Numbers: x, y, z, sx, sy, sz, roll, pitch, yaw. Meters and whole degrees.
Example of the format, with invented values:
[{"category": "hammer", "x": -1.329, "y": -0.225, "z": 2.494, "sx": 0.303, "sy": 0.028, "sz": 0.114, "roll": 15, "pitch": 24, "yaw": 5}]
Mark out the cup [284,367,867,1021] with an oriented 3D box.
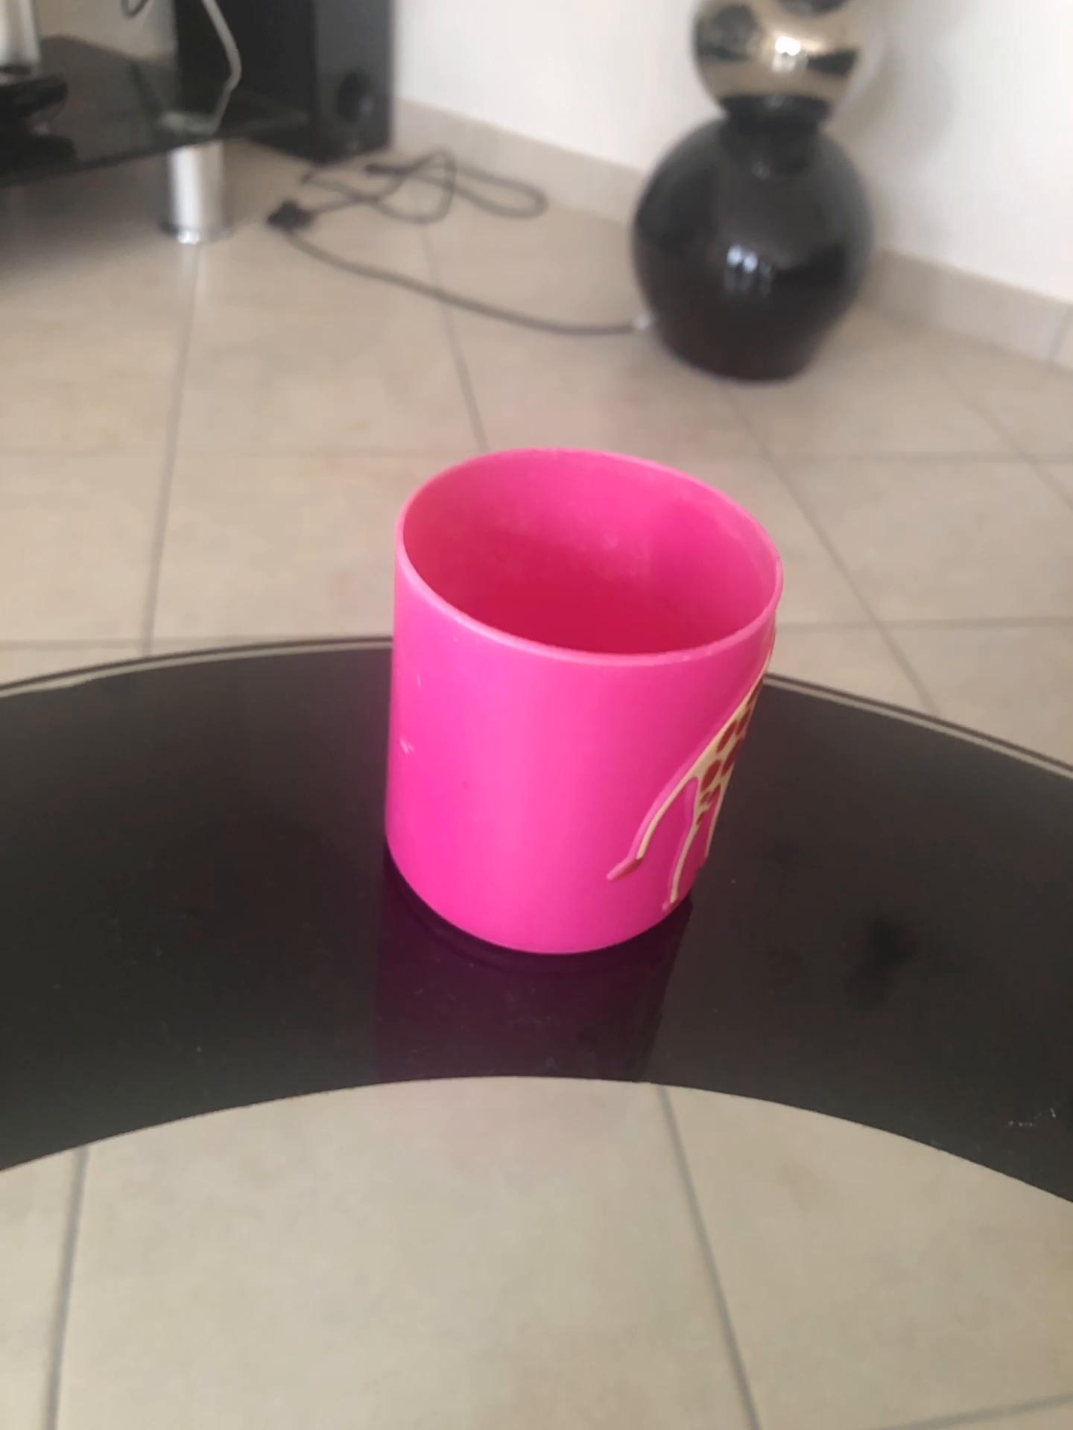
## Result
[{"category": "cup", "x": 0.009, "y": -0.010, "z": 0.232, "sx": 0.070, "sy": 0.070, "sz": 0.091, "roll": 22, "pitch": 42, "yaw": 17}]
